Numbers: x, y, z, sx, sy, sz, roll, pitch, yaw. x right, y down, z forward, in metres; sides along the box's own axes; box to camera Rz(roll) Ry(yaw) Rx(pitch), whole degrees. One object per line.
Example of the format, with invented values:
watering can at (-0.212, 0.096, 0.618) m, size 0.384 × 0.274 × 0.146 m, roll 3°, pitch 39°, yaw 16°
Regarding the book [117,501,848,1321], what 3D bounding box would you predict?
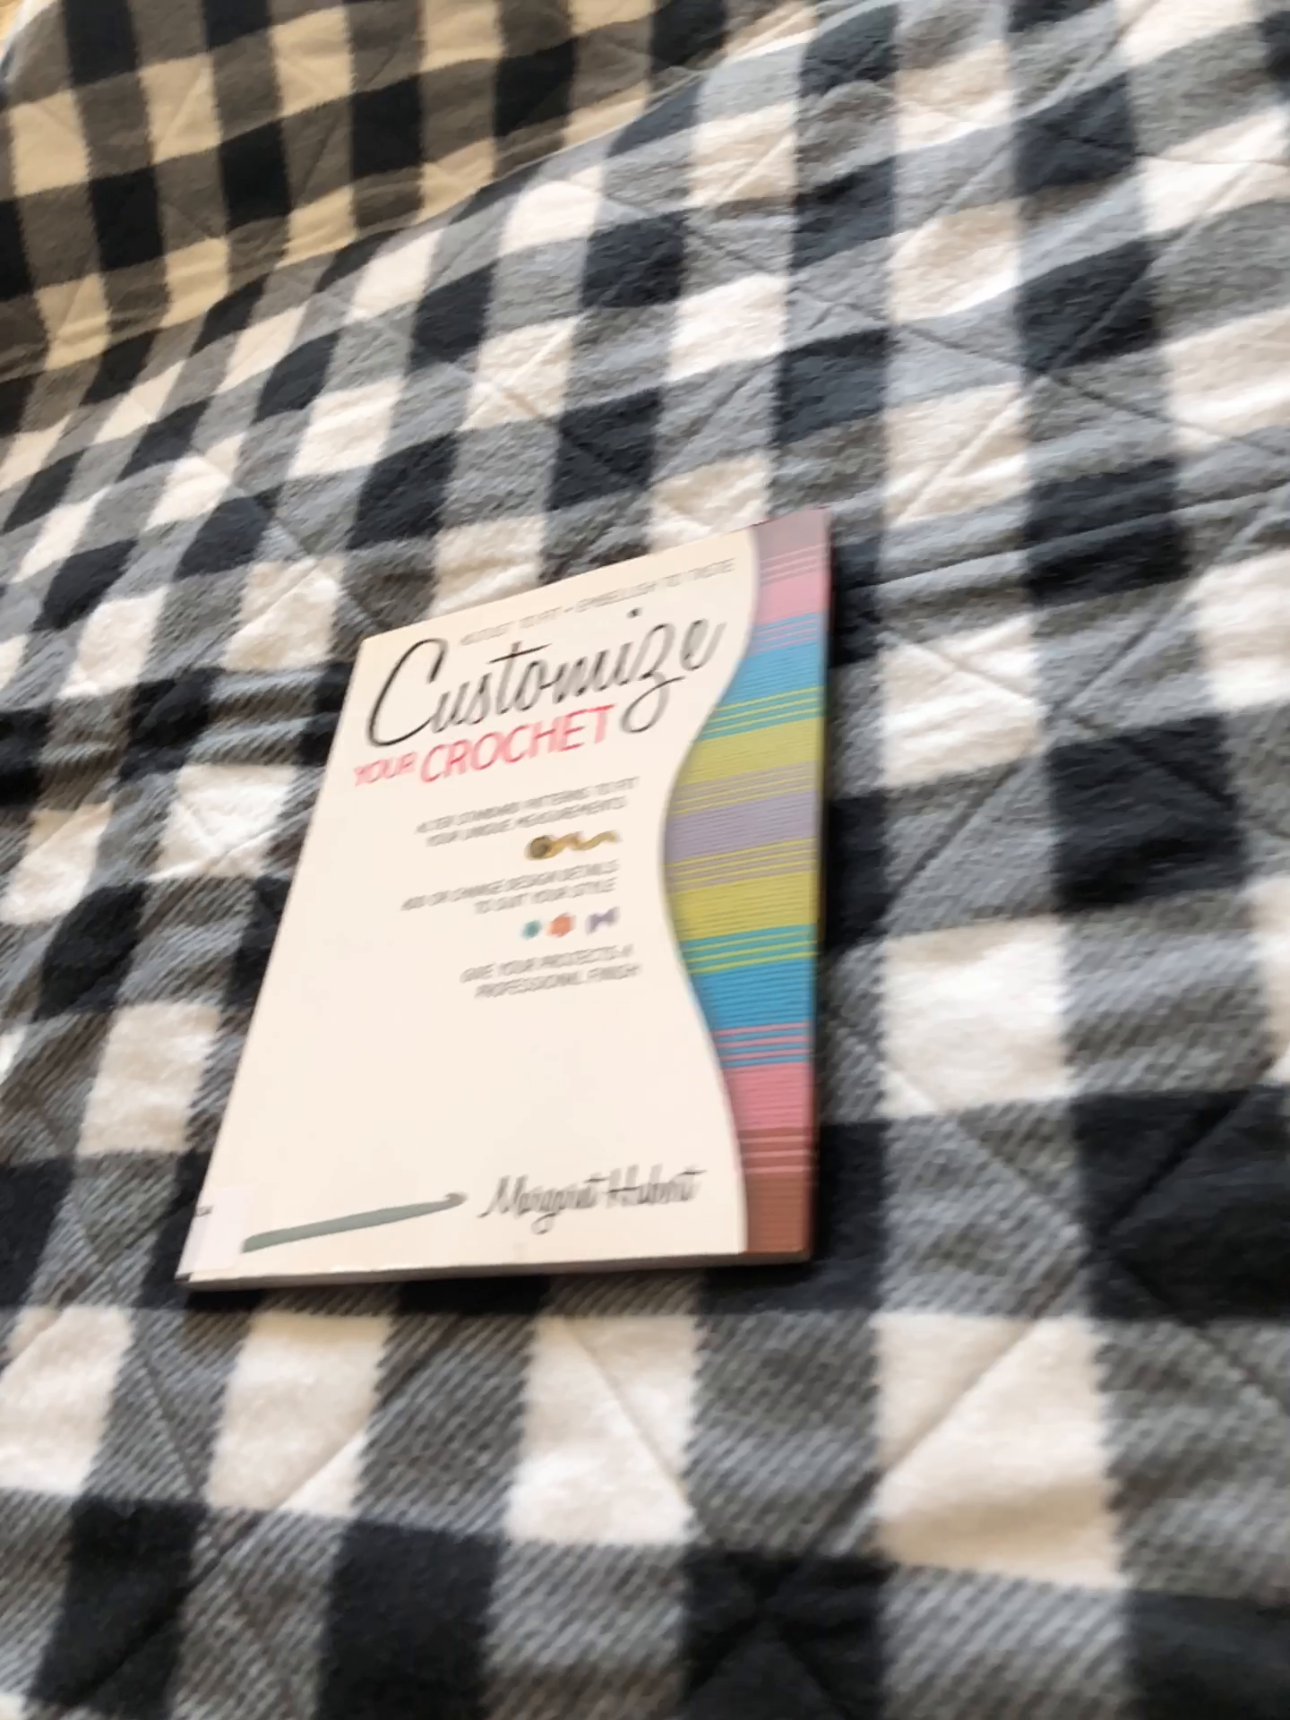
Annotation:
book at (-0.038, 0.009, 0.411) m, size 0.187 × 0.020 × 0.238 m, roll -10°, pitch 52°, yaw 24°
